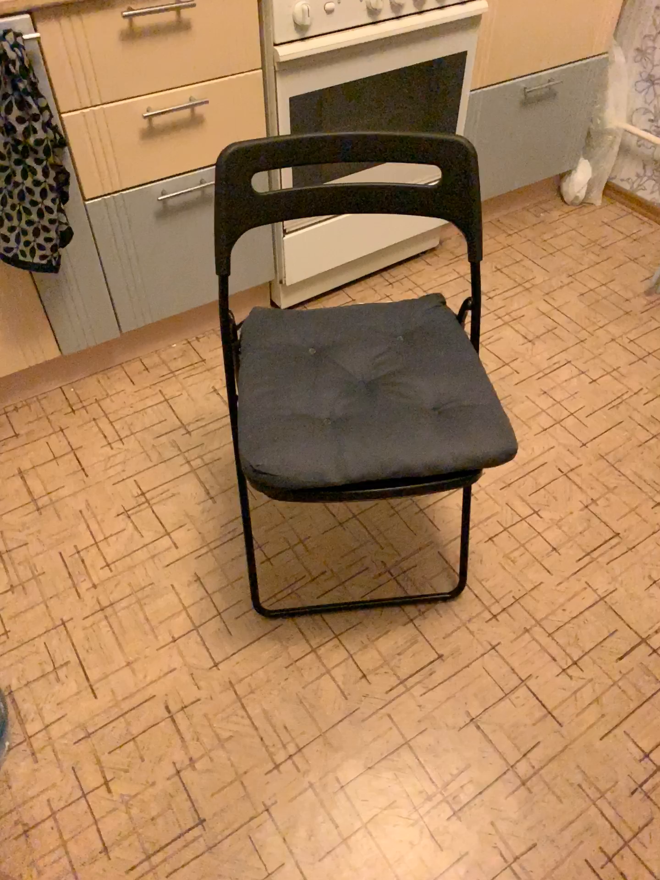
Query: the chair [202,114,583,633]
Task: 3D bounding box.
[{"bbox_3d":[0.043,-0.081,1.220,0.440,0.776,0.482,-6,48,-6],"label":"chair"}]
